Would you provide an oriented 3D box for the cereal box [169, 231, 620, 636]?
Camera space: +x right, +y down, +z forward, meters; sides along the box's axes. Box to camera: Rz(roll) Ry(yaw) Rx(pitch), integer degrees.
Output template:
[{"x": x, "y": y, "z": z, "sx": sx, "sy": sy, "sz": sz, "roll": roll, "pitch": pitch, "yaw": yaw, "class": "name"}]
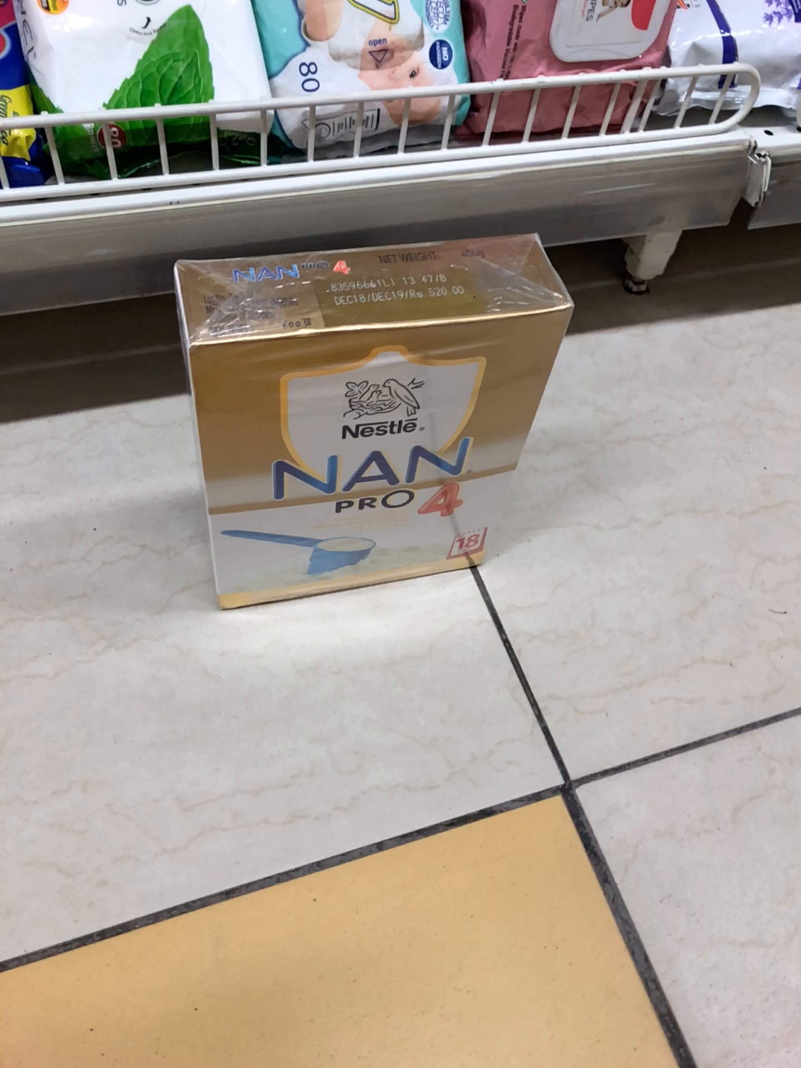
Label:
[{"x": -0.011, "y": -0.036, "z": 0.404, "sx": 0.160, "sy": 0.189, "sz": 0.050, "roll": -10, "pitch": 57, "yaw": -15, "class": "cereal box"}]
